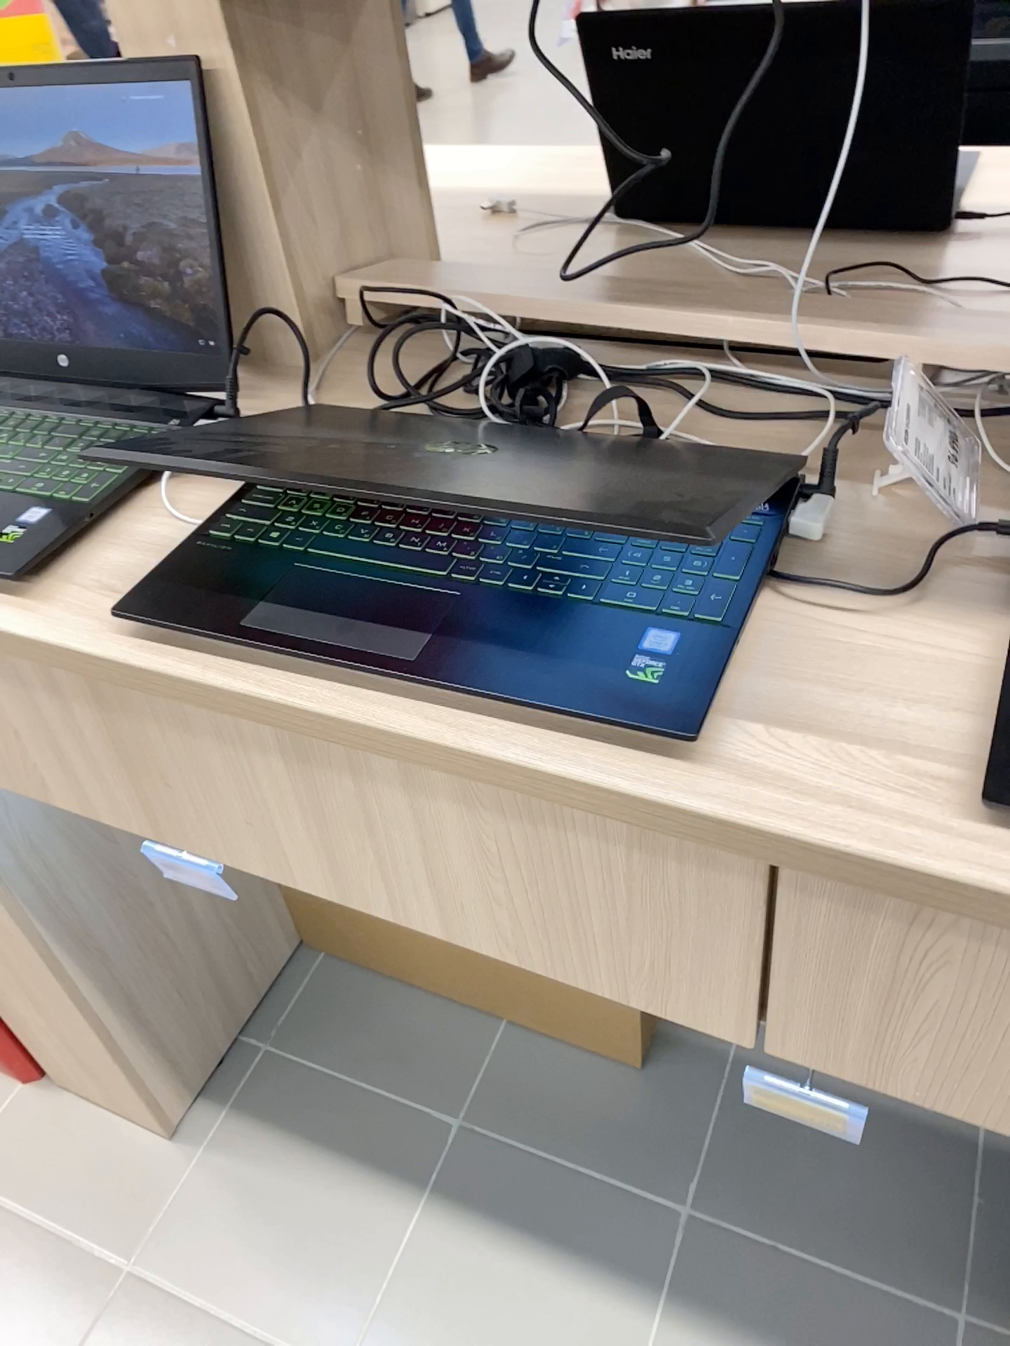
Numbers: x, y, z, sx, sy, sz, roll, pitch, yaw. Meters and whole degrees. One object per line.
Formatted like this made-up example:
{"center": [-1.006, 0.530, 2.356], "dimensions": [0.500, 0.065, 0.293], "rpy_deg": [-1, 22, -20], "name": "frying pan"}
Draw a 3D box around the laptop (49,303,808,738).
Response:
{"center": [-0.032, -0.115, 0.609], "dimensions": [0.362, 0.092, 0.243], "rpy_deg": [11, 45, 21], "name": "laptop"}
